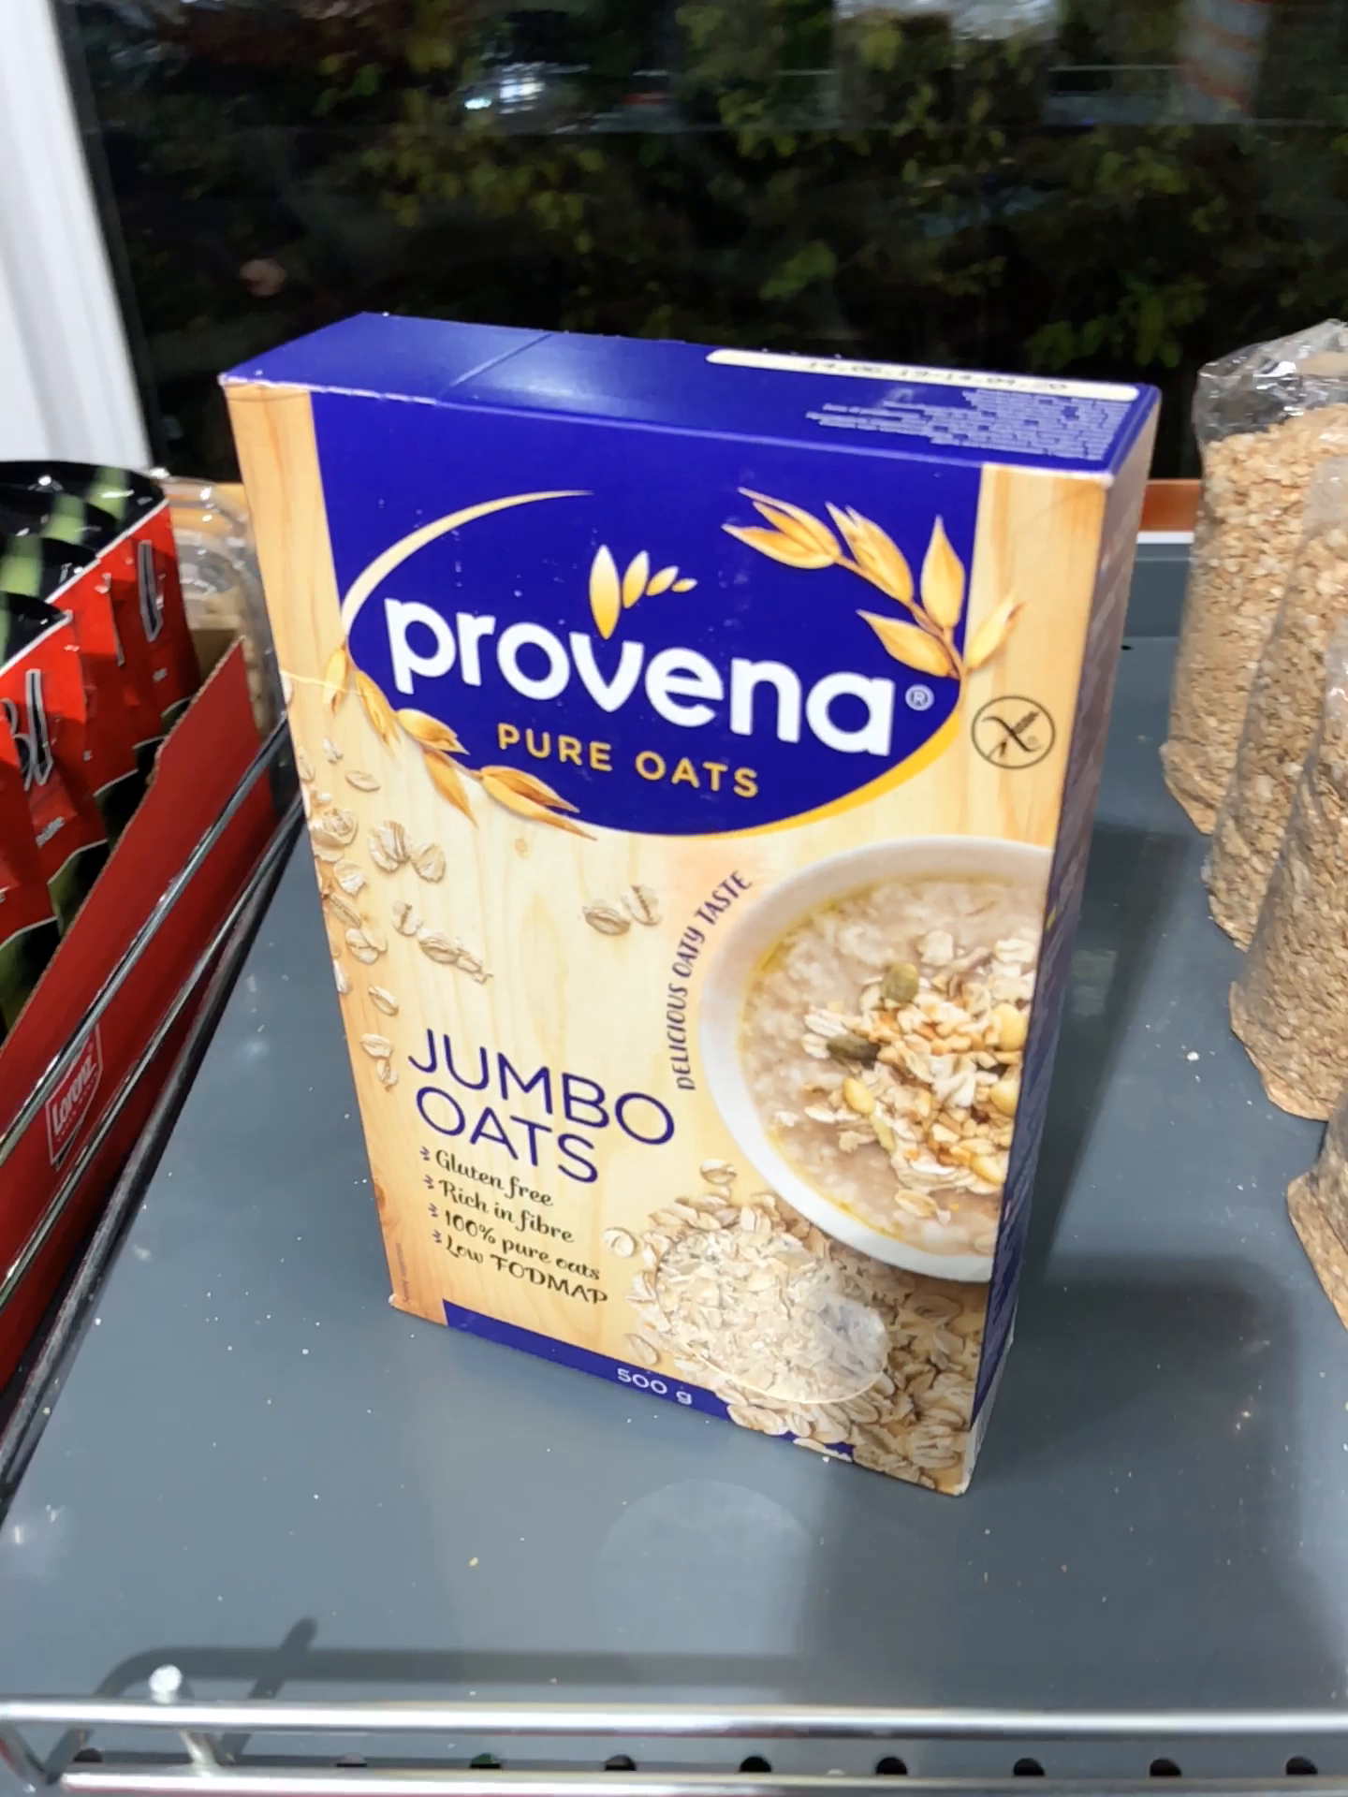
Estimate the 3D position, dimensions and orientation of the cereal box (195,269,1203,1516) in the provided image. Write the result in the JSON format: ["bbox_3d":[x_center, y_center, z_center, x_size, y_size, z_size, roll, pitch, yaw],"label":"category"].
[{"bbox_3d":[0.003,0.007,0.296,0.150,0.229,0.050,13,36,19],"label":"cereal box"}]
